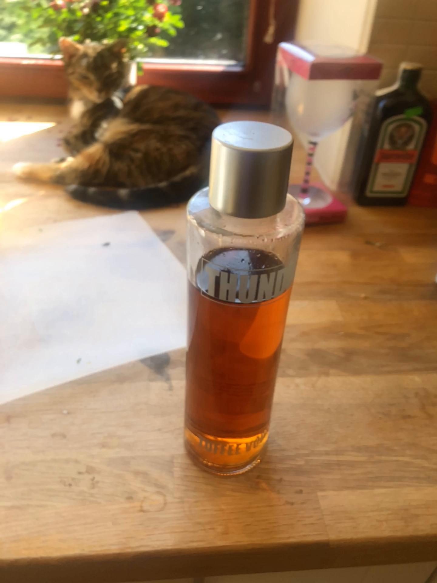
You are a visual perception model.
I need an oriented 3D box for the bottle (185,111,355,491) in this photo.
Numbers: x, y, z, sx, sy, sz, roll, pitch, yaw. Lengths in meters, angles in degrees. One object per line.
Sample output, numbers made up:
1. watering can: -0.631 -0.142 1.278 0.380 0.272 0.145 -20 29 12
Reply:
1. bottle: 0.018 0.026 0.352 0.080 0.278 0.081 2 36 -2
